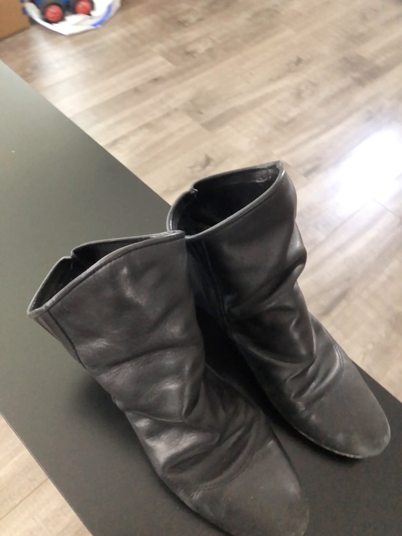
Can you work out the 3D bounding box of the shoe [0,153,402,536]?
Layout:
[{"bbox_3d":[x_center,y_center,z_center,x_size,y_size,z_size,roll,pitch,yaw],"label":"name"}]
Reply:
[{"bbox_3d":[-0.010,0.077,0.300,0.250,0.170,0.101,42,62,18],"label":"shoe"}]

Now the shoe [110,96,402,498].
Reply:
[{"bbox_3d":[0.059,0.026,0.343,0.260,0.170,0.101,42,62,18],"label":"shoe"}]
